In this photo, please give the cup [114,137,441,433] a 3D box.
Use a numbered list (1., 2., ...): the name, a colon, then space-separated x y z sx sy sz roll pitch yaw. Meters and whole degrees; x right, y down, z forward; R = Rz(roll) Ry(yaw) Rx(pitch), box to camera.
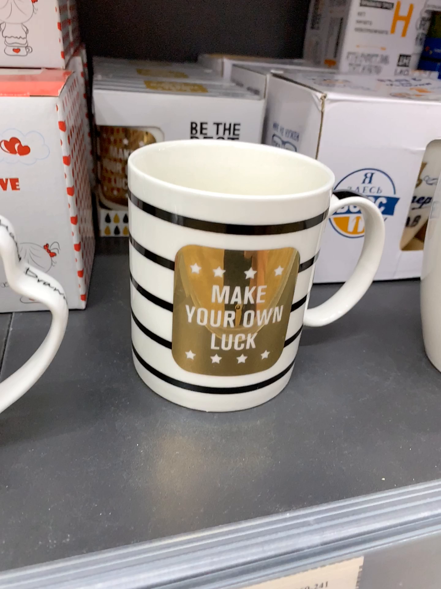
1. cup: 0.016 -0.012 0.210 0.115 0.096 0.082 -5 32 -17
